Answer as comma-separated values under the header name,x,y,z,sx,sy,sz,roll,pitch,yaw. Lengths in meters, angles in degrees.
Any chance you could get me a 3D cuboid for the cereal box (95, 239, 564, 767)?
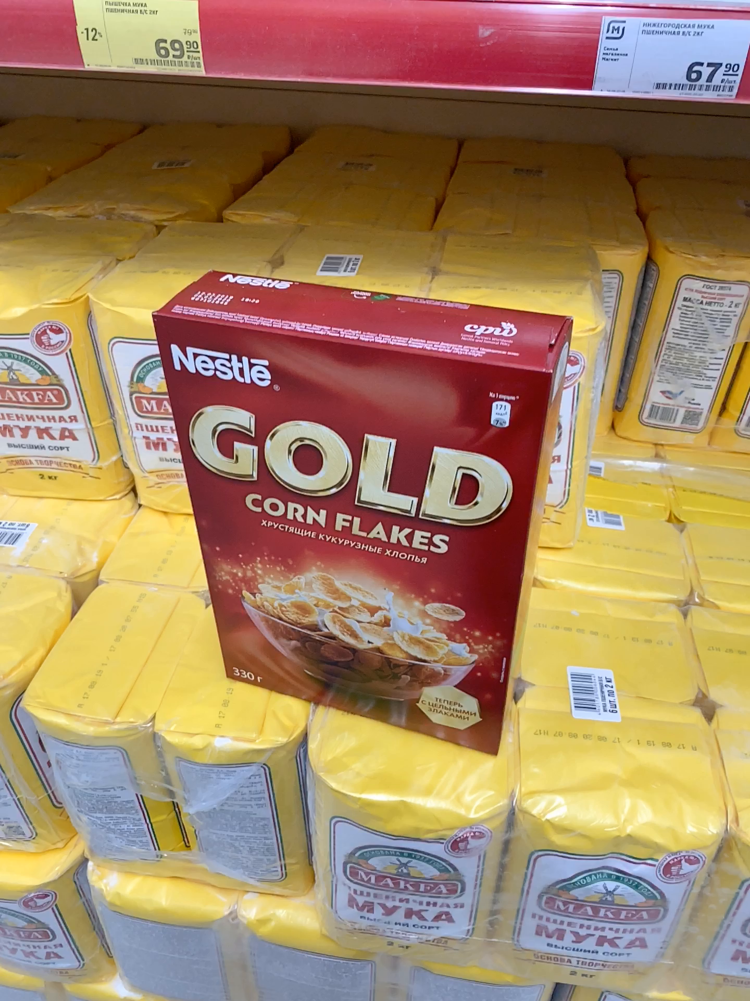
name,x,y,z,sx,sy,sz,roll,pitch,yaw
cereal box,-0.023,0.014,0.453,0.210,0.287,0.071,12,40,14
